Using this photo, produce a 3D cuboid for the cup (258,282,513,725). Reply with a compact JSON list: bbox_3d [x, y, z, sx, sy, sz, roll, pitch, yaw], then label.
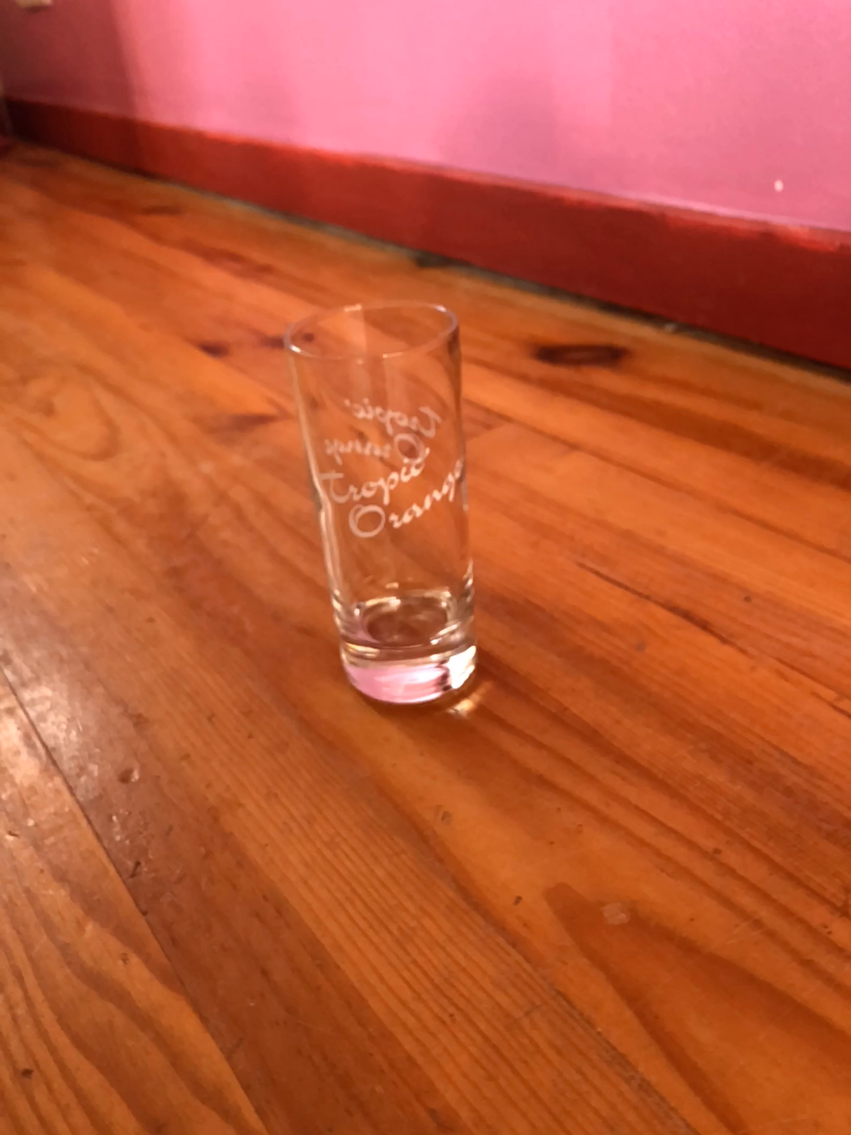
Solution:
[{"bbox_3d":[-0.011,-0.021,0.313,0.056,0.124,0.056,-5,30,3],"label":"cup"}]
